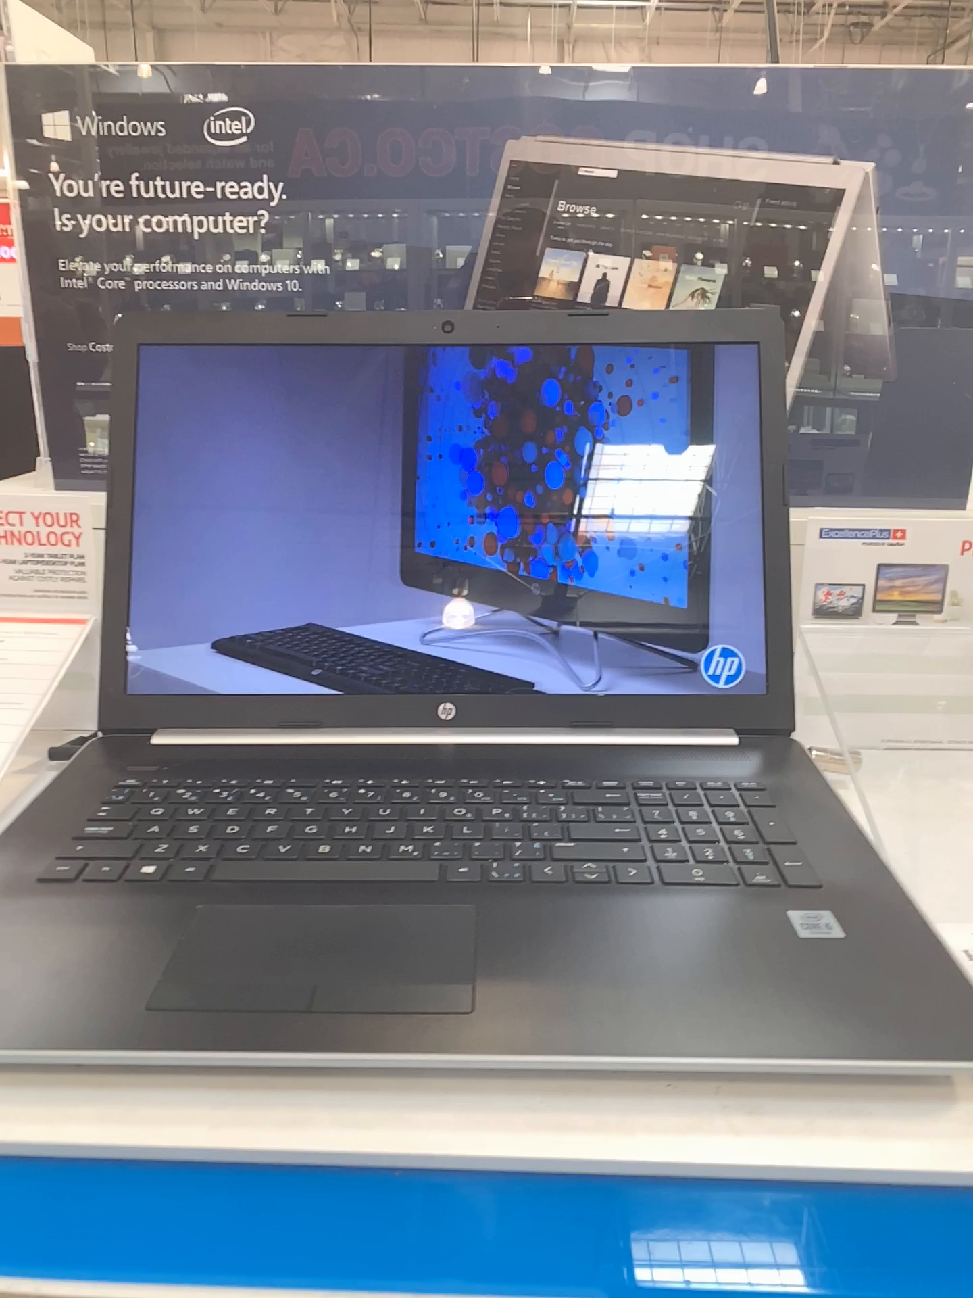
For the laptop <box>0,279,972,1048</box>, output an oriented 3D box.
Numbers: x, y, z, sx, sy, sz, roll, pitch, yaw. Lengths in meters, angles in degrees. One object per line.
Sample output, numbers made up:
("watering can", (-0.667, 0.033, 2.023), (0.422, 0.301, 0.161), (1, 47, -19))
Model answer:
("laptop", (-0.014, -0.037, 0.469), (0.394, 0.234, 0.371), (0, 17, 0))
